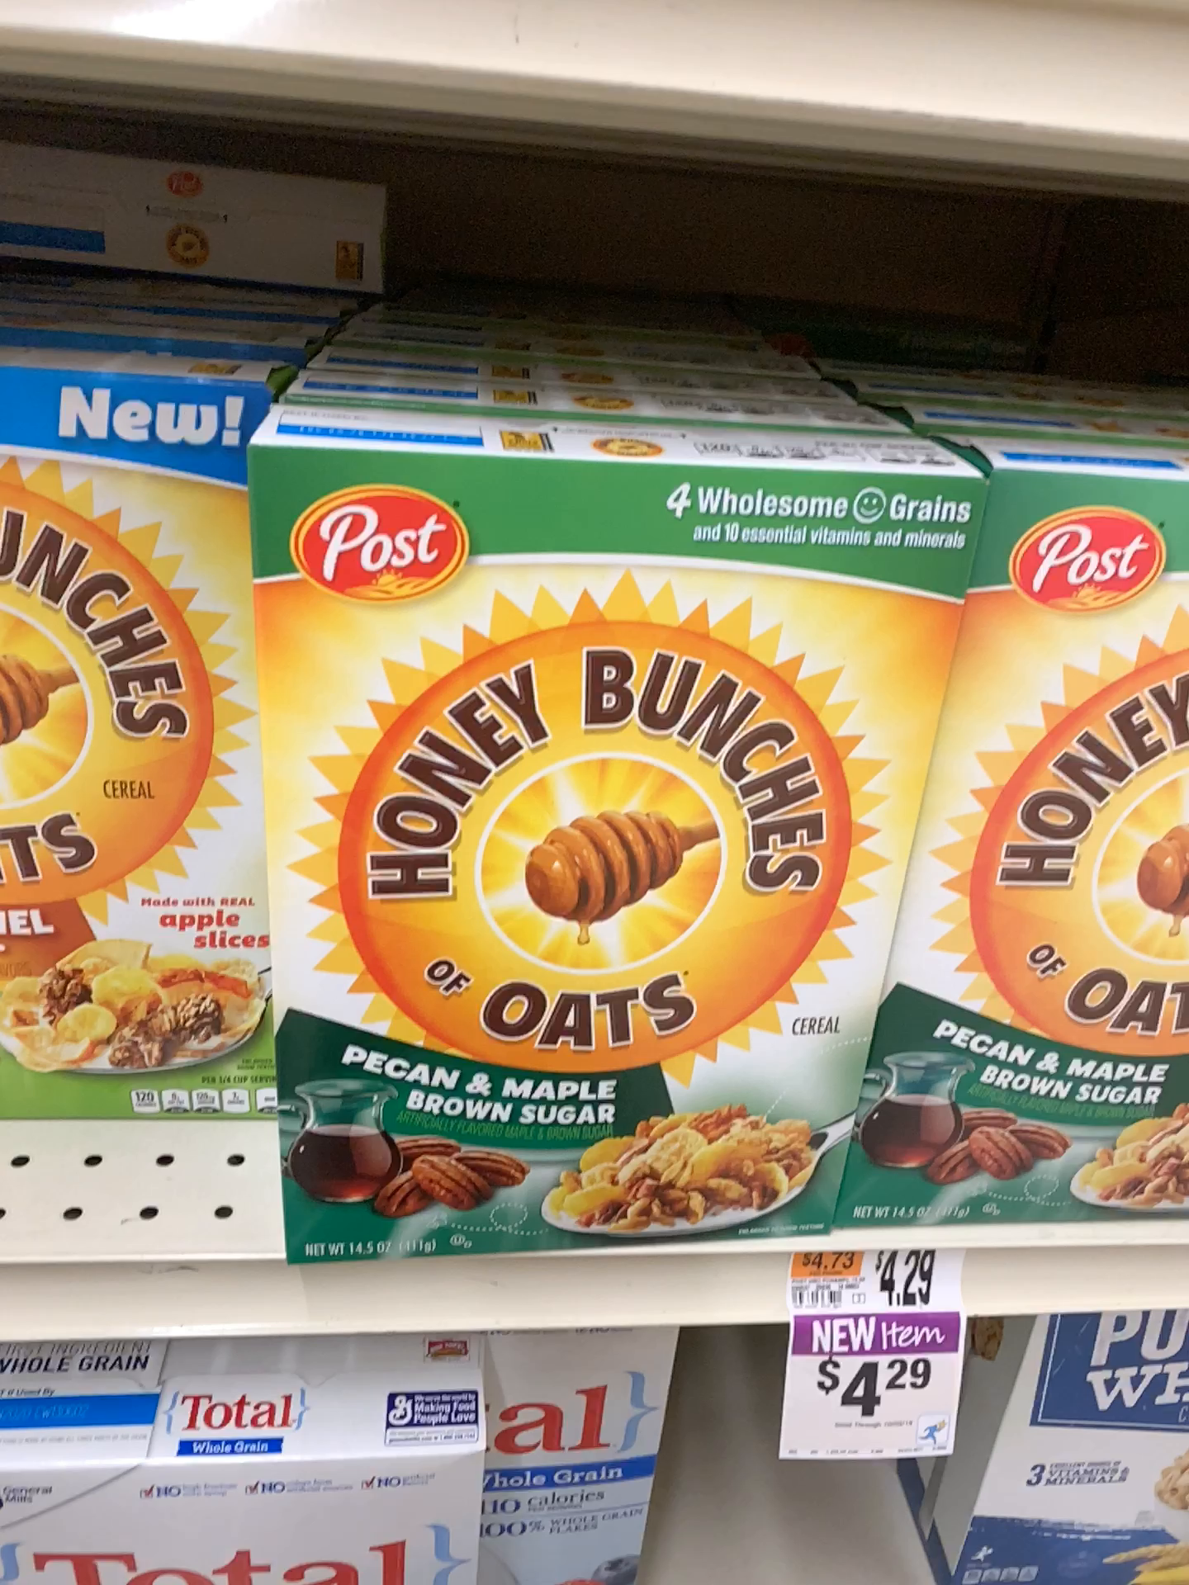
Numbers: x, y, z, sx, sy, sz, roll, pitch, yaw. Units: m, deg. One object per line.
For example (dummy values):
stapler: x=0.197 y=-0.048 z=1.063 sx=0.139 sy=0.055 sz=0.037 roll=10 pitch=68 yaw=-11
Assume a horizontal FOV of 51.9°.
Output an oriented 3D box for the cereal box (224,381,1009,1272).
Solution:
cereal box: x=-0.005 y=0.023 z=0.393 sx=0.200 sy=0.278 sz=0.060 roll=0 pitch=27 yaw=-10
